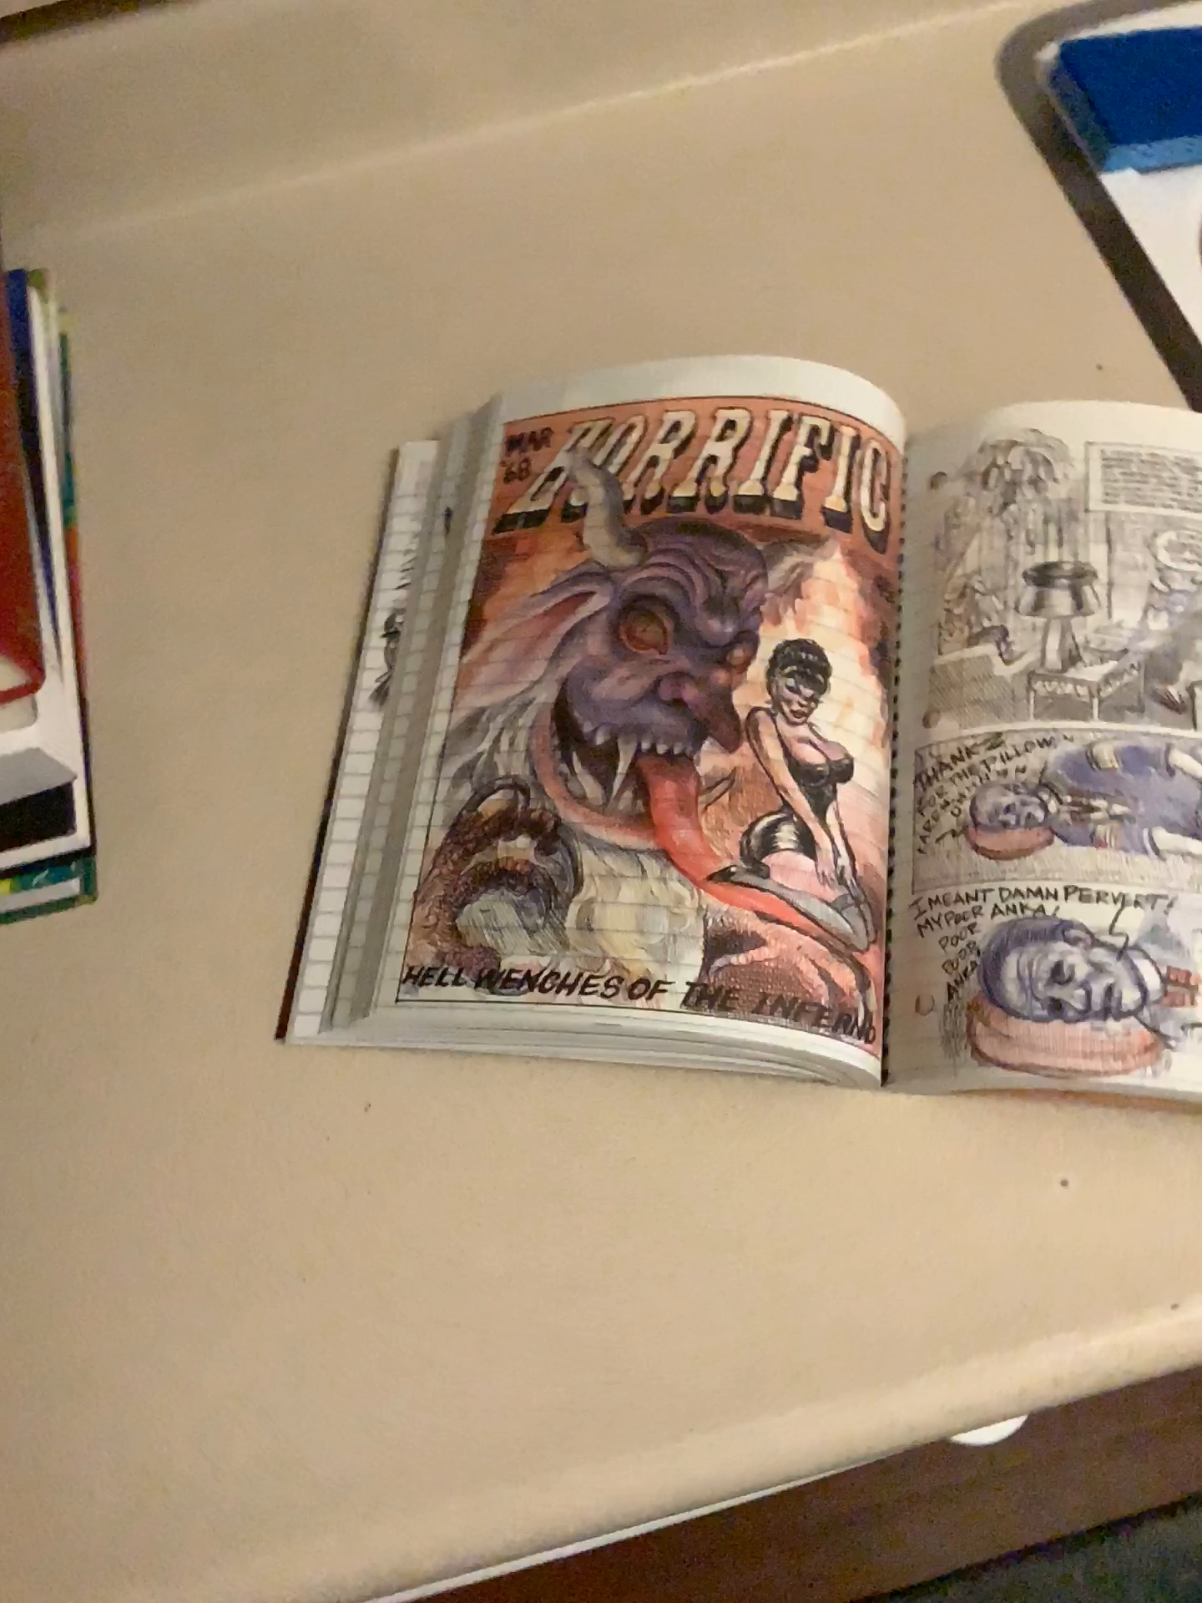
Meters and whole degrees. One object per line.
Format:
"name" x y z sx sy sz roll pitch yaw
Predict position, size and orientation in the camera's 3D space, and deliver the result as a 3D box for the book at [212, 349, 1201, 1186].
"book" 0.108 -0.032 0.478 0.430 0.050 0.280 4 65 7
